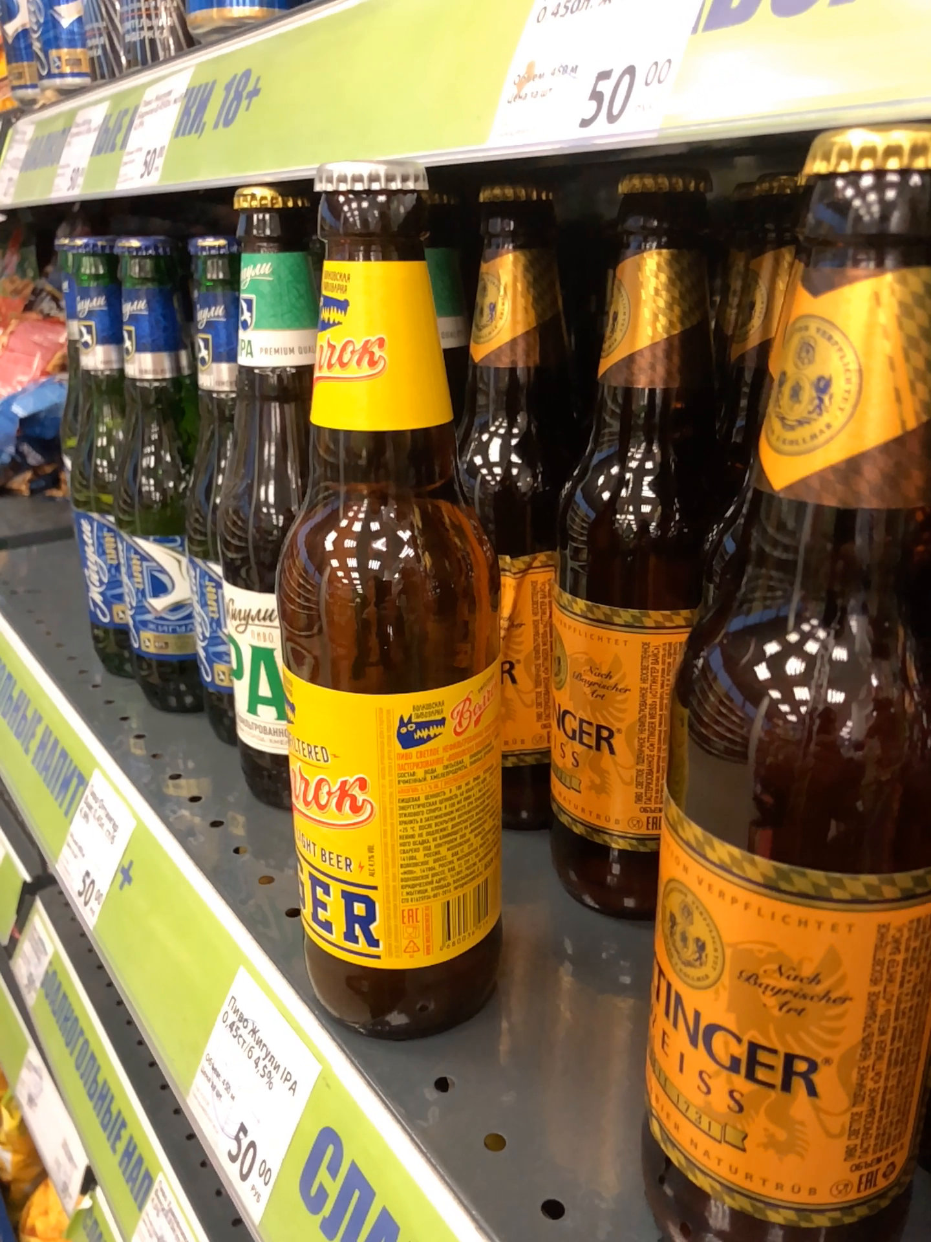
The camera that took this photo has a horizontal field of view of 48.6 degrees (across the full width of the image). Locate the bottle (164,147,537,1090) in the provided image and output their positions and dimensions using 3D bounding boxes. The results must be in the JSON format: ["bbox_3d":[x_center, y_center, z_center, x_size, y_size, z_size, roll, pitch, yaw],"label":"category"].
[{"bbox_3d":[-0.028,0.002,0.287,0.070,0.239,0.070,-2,21,1],"label":"bottle"}]
